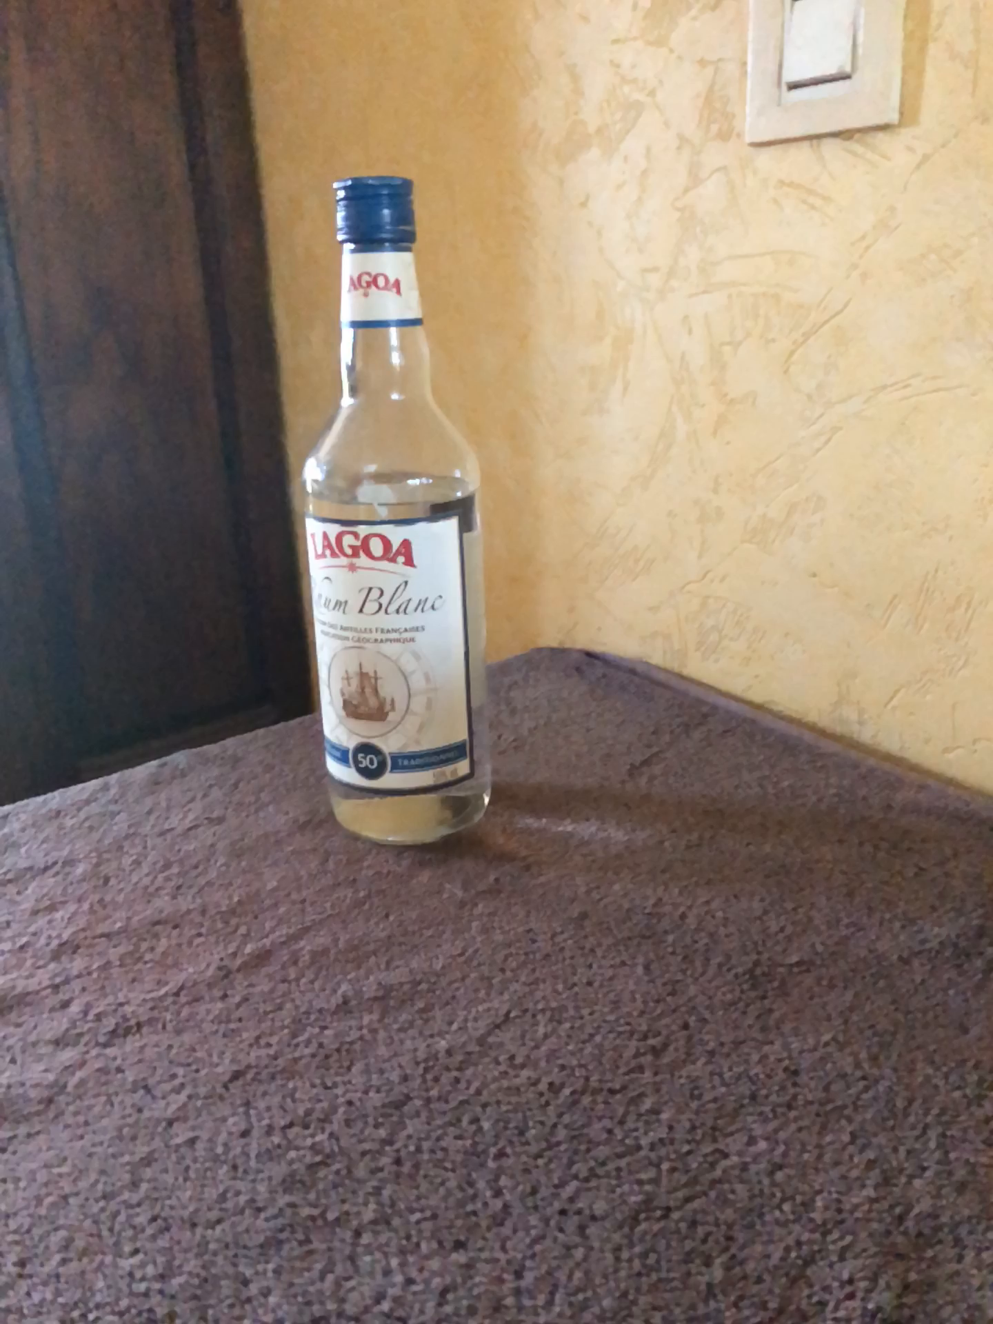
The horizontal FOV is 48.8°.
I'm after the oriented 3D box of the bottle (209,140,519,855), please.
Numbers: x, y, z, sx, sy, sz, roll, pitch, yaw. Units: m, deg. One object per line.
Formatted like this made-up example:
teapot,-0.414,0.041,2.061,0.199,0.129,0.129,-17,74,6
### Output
bottle,-0.047,-0.064,0.459,0.080,0.269,0.080,-2,18,1
